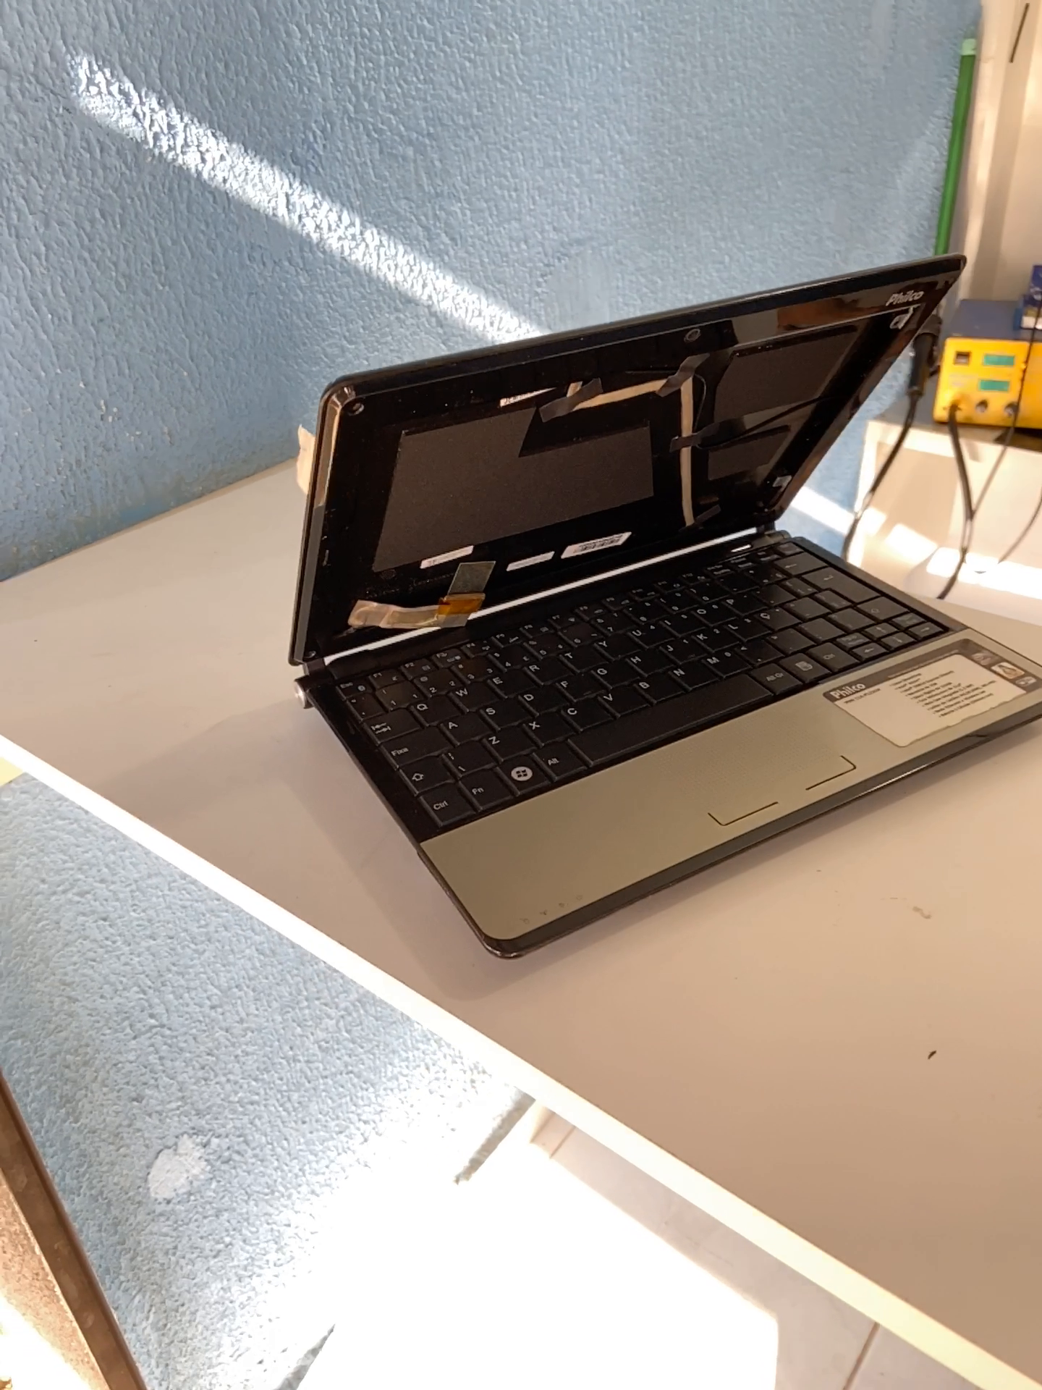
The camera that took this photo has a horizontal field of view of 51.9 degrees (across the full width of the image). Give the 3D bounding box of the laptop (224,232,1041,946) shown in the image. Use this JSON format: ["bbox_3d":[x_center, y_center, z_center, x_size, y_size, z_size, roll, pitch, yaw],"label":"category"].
[{"bbox_3d":[0.061,-0.068,0.416,0.276,0.144,0.177,-19,37,-24],"label":"laptop"}]
